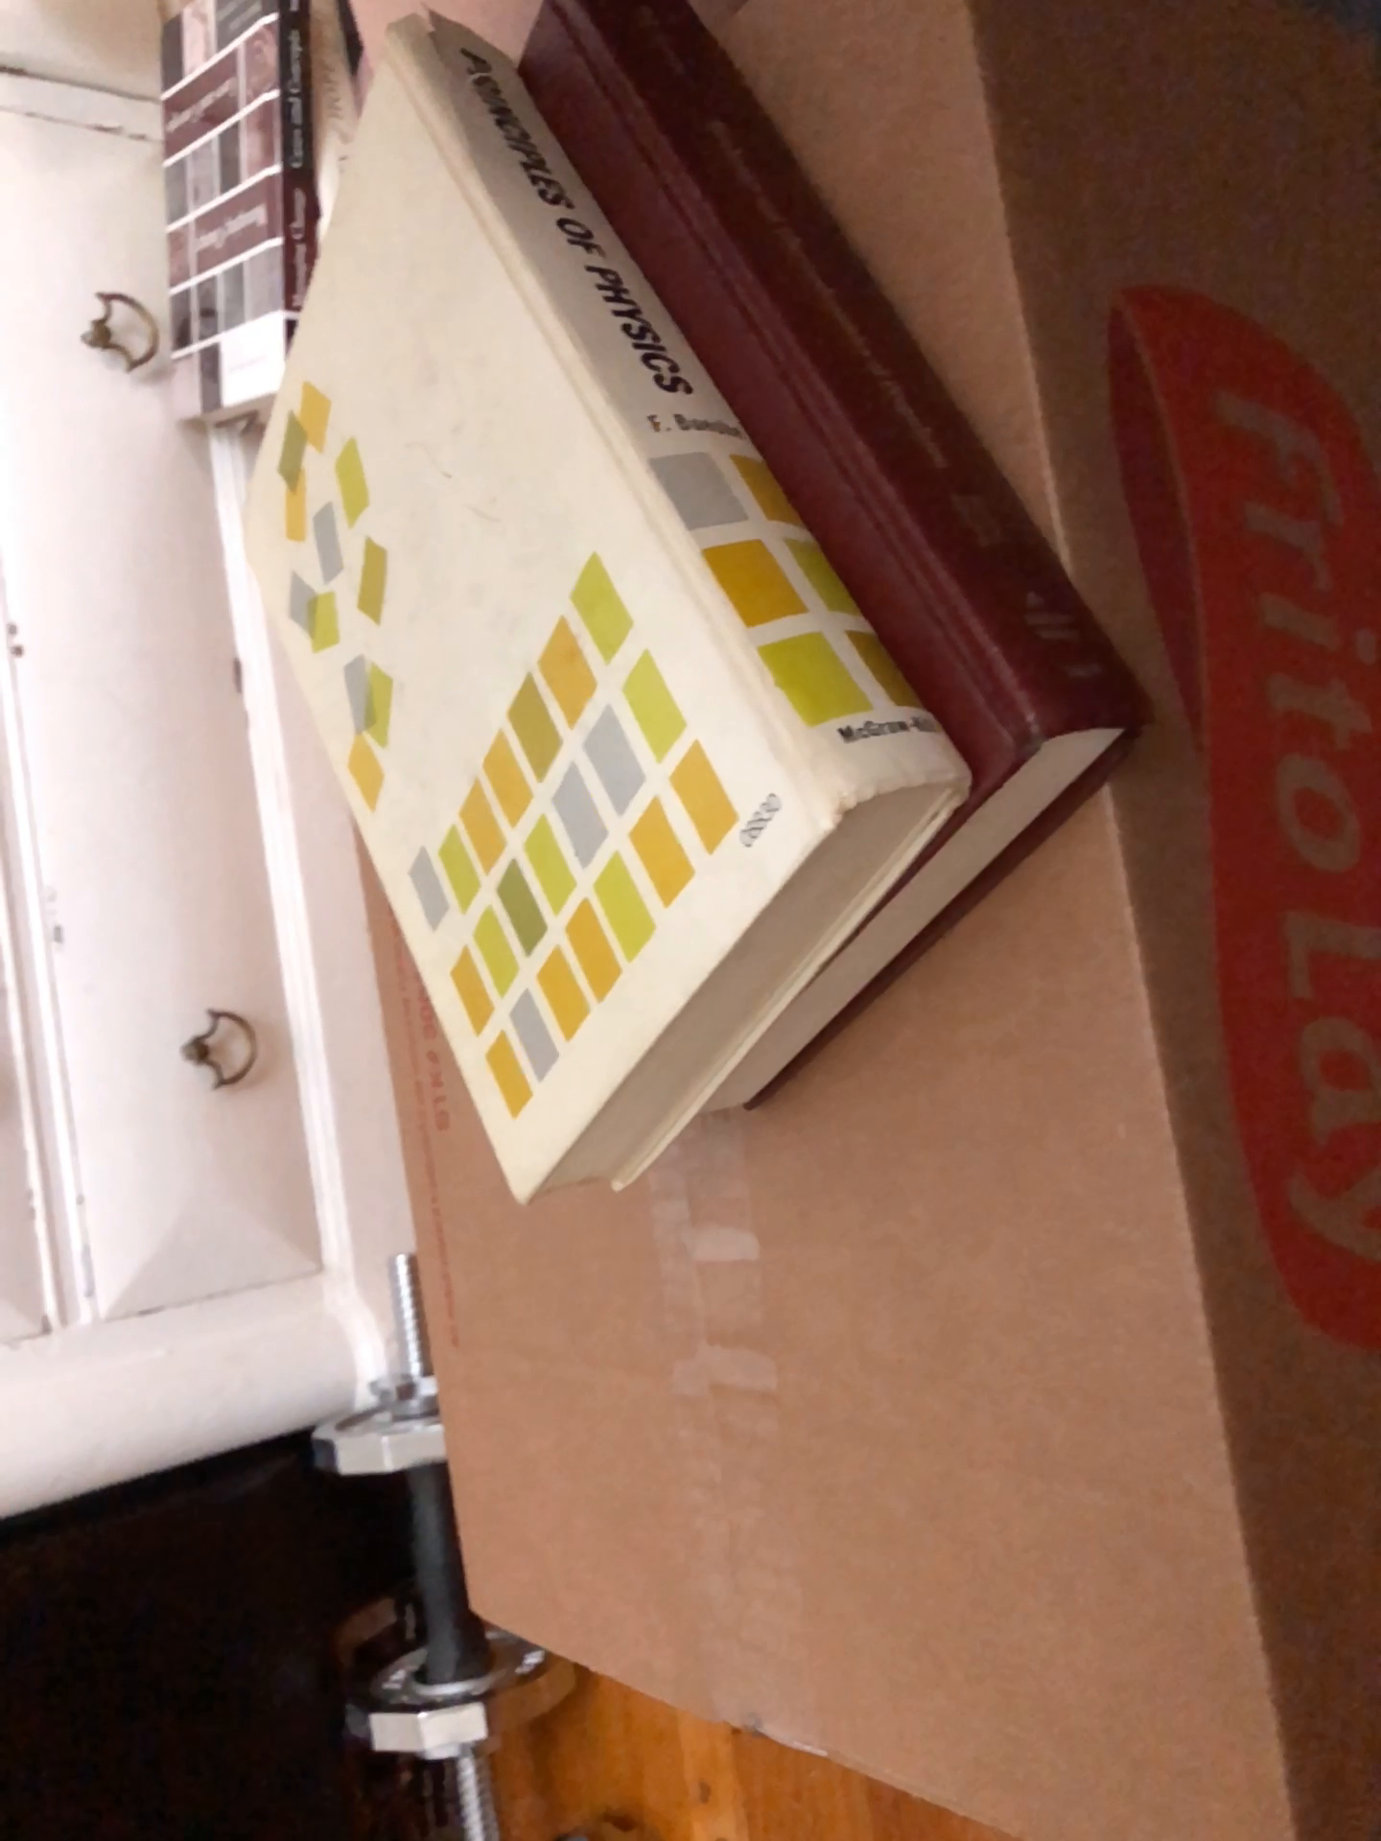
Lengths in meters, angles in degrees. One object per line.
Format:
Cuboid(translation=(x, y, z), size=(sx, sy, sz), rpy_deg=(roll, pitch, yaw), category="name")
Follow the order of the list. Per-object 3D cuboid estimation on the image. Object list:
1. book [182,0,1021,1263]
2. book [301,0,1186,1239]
Cuboid(translation=(-0.049, -0.069, 0.385), size=(0.180, 0.040, 0.250), rpy_deg=(-51, 58, 43), category="book")
Cuboid(translation=(-0.014, -0.072, 0.392), size=(0.180, 0.040, 0.250), rpy_deg=(-48, 60, 44), category="book")
